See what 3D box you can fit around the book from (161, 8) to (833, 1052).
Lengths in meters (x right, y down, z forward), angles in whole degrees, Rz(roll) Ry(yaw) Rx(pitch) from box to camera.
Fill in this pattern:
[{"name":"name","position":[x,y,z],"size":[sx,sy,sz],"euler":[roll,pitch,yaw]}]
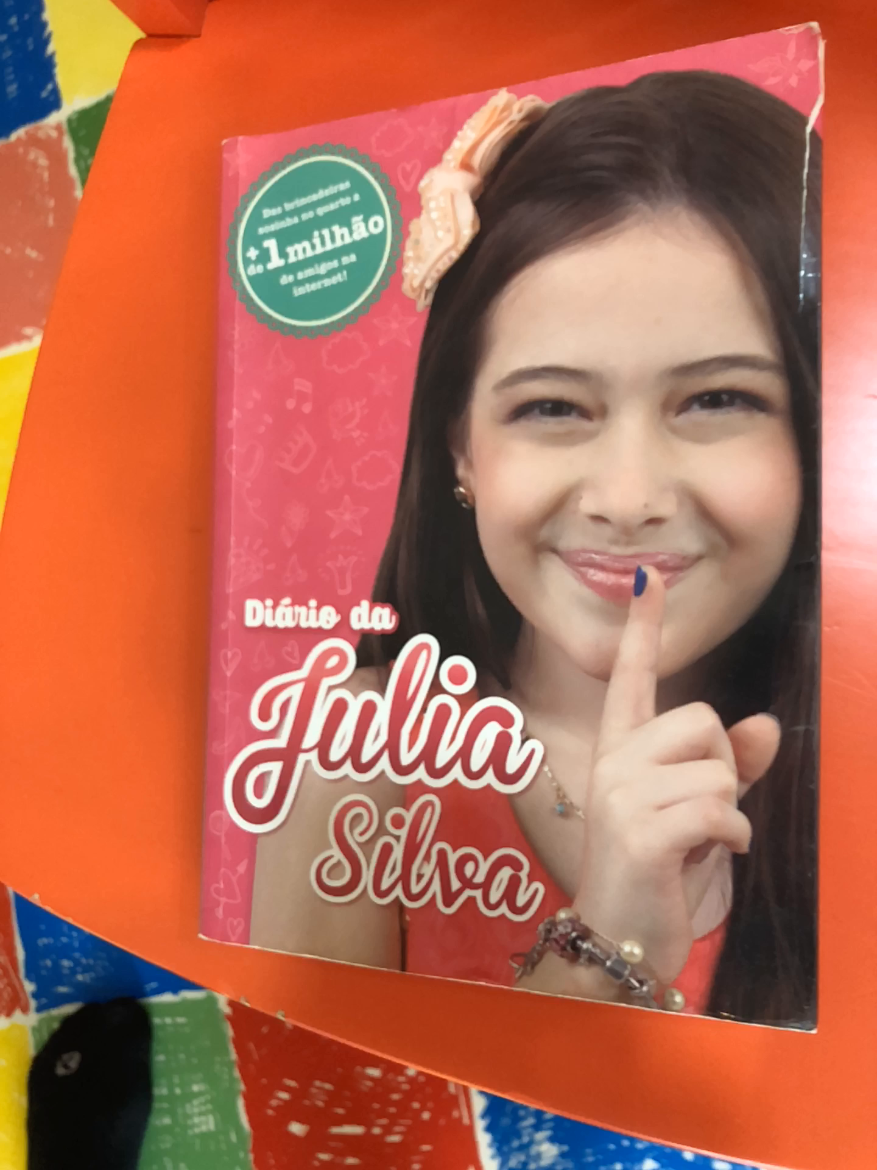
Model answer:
[{"name":"book","position":[0.011,-0.016,0.262],"size":[0.171,0.020,0.241],"euler":[1,88,18]}]
